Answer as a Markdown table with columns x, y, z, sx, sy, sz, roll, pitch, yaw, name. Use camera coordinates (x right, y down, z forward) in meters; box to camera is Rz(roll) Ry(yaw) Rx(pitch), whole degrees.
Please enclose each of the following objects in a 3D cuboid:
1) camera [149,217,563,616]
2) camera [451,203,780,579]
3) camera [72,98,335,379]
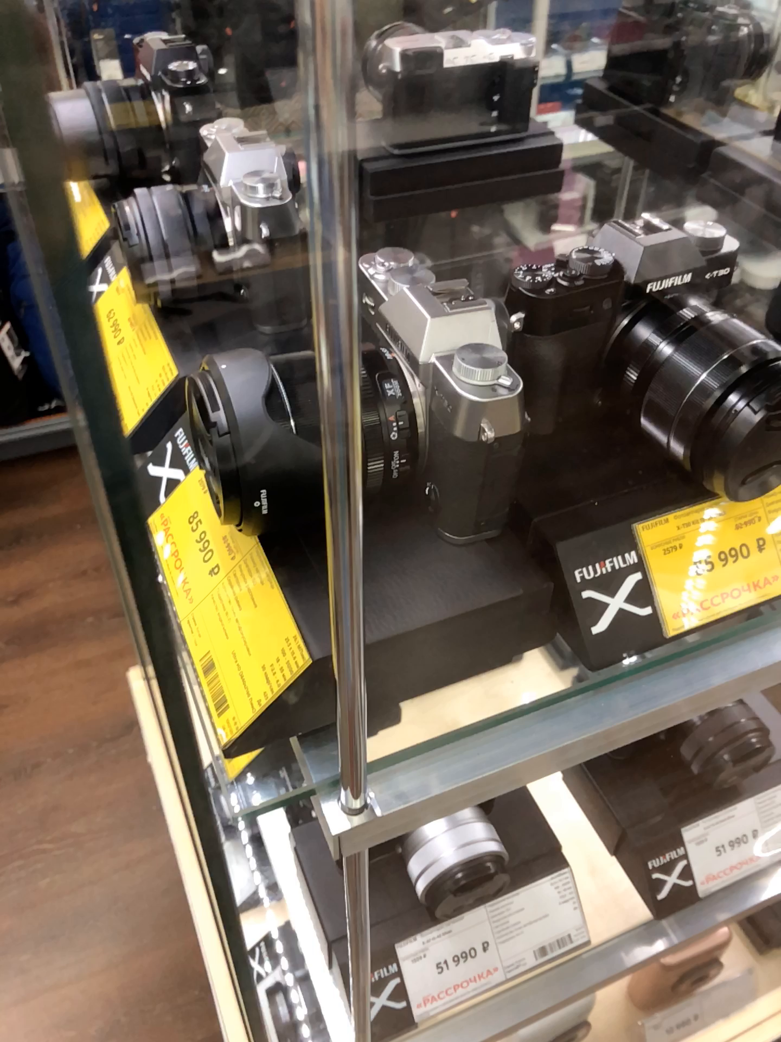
| x | y | z | sx | sy | sz | roll | pitch | yaw | name |
| --- | --- | --- | --- | --- | --- | --- | --- | --- | --- |
| -0.020 | -0.050 | 0.356 | 0.120 | 0.088 | 0.121 | -15 | 45 | -18 | camera |
| 0.123 | -0.066 | 0.390 | 0.144 | 0.088 | 0.123 | -16 | 46 | -19 | camera |
| -0.104 | -0.161 | 0.479 | 0.104 | 0.088 | 0.135 | -15 | 45 | -18 | camera |
